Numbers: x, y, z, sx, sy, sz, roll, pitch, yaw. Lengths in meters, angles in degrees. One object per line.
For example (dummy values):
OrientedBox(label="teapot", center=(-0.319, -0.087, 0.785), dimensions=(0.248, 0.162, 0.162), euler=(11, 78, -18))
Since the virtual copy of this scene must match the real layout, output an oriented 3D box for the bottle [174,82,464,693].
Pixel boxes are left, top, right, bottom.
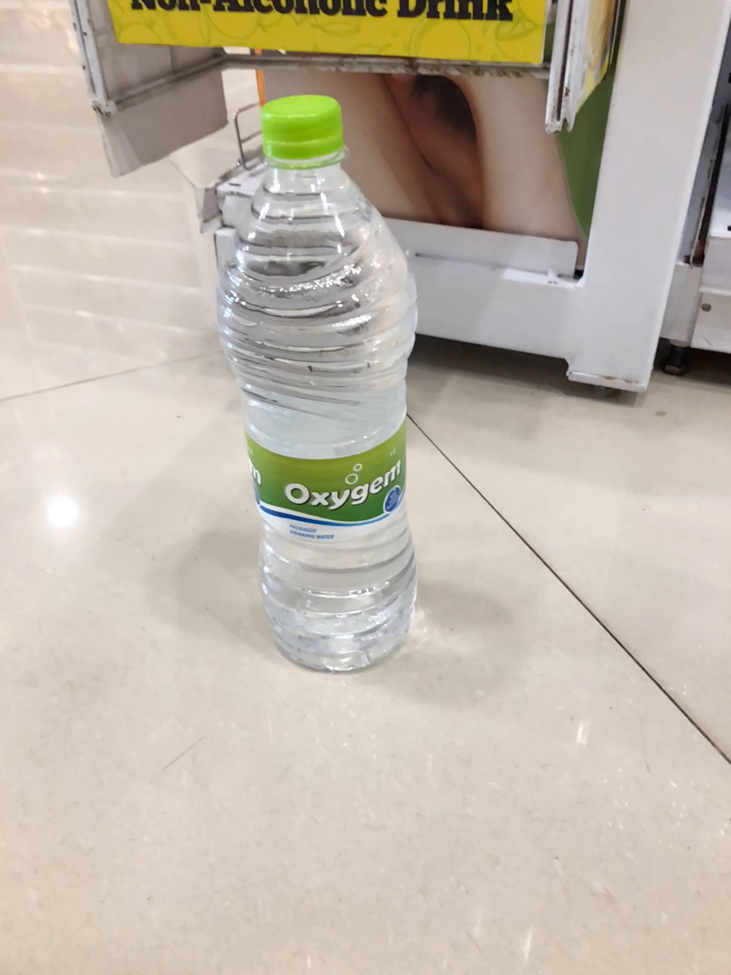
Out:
OrientedBox(label="bottle", center=(-0.014, -0.029, 0.359), dimensions=(0.090, 0.258, 0.081), euler=(-4, 36, -3))
